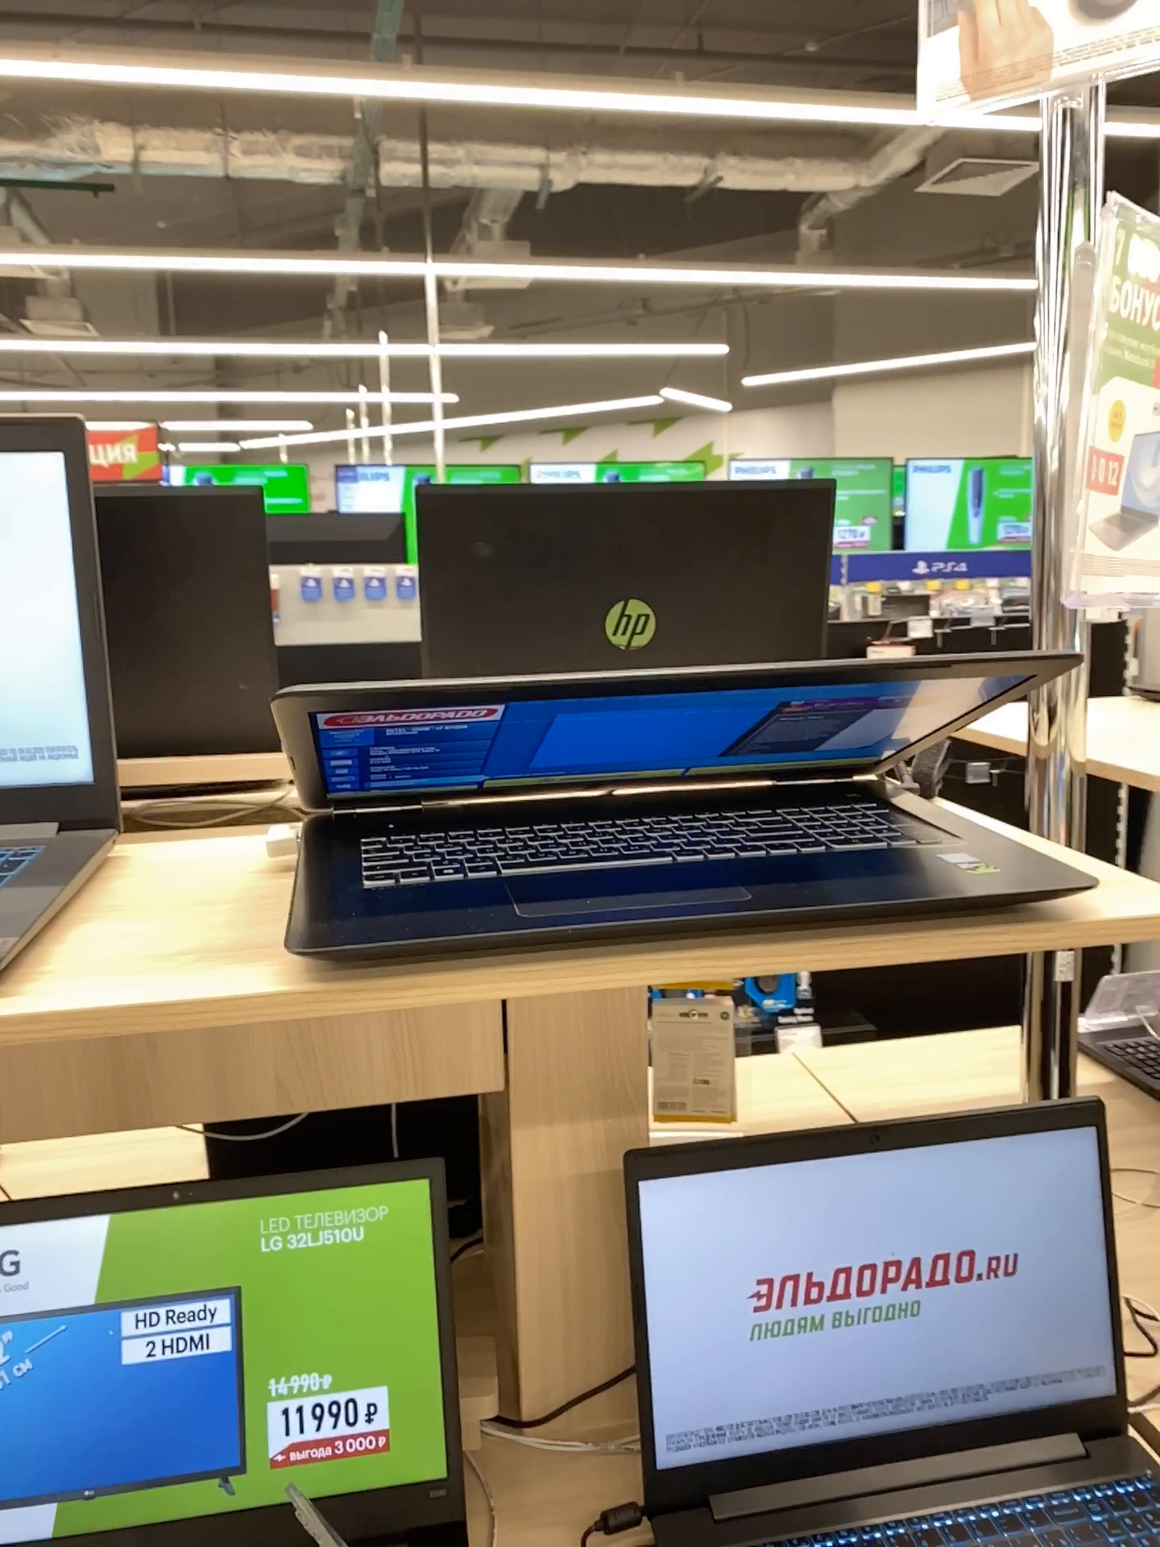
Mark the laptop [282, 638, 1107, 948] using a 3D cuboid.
[{"bbox_3d":[0.039,-0.009,0.685,0.396,0.103,0.264,-3,11,-10],"label":"laptop"}]
